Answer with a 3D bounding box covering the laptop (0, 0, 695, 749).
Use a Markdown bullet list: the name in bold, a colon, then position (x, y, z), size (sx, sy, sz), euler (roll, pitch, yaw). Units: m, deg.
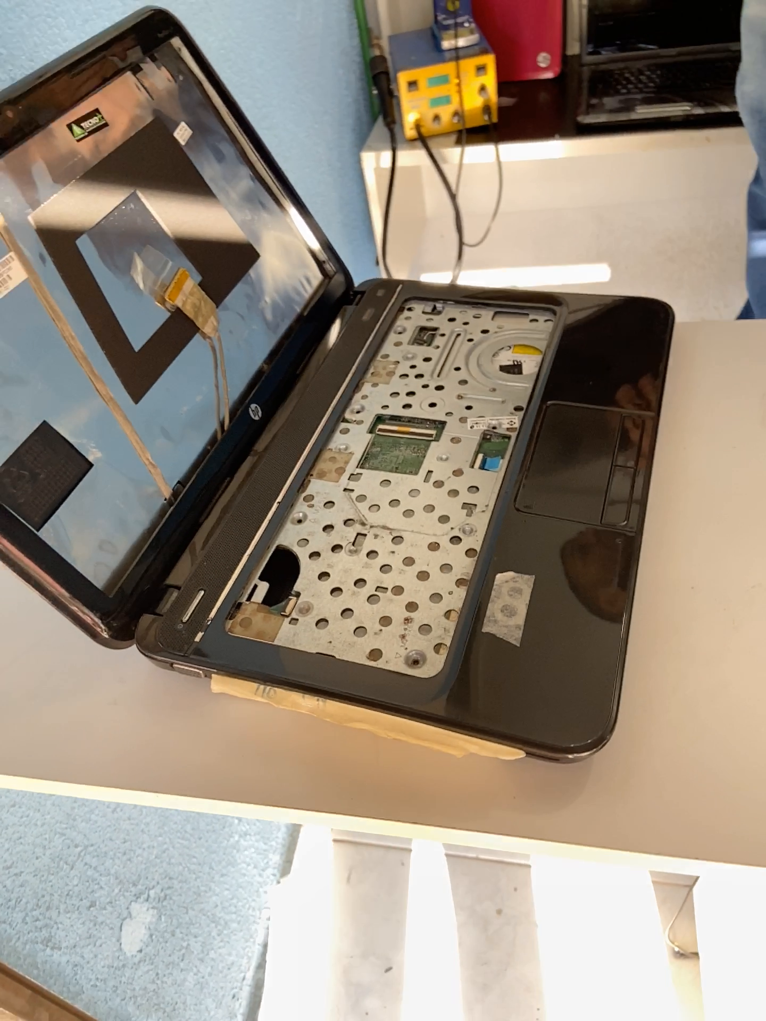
- **laptop**: position (-0.032, -0.112, 0.406), size (0.324, 0.186, 0.336), euler (8, 48, 19)
